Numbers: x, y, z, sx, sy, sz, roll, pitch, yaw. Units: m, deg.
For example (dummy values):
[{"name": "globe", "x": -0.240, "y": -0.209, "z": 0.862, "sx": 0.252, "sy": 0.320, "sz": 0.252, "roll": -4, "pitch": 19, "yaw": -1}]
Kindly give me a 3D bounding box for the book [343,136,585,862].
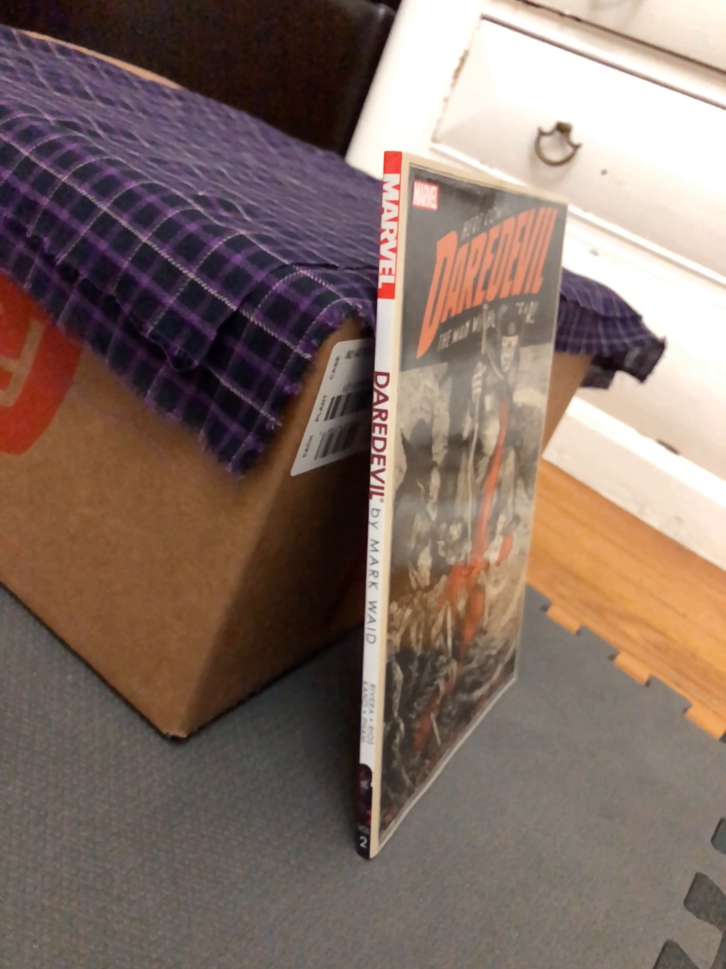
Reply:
[{"name": "book", "x": 0.045, "y": -0.001, "z": 0.319, "sx": 0.020, "sy": 0.229, "sz": 0.161, "roll": 10, "pitch": 17, "yaw": 26}]
